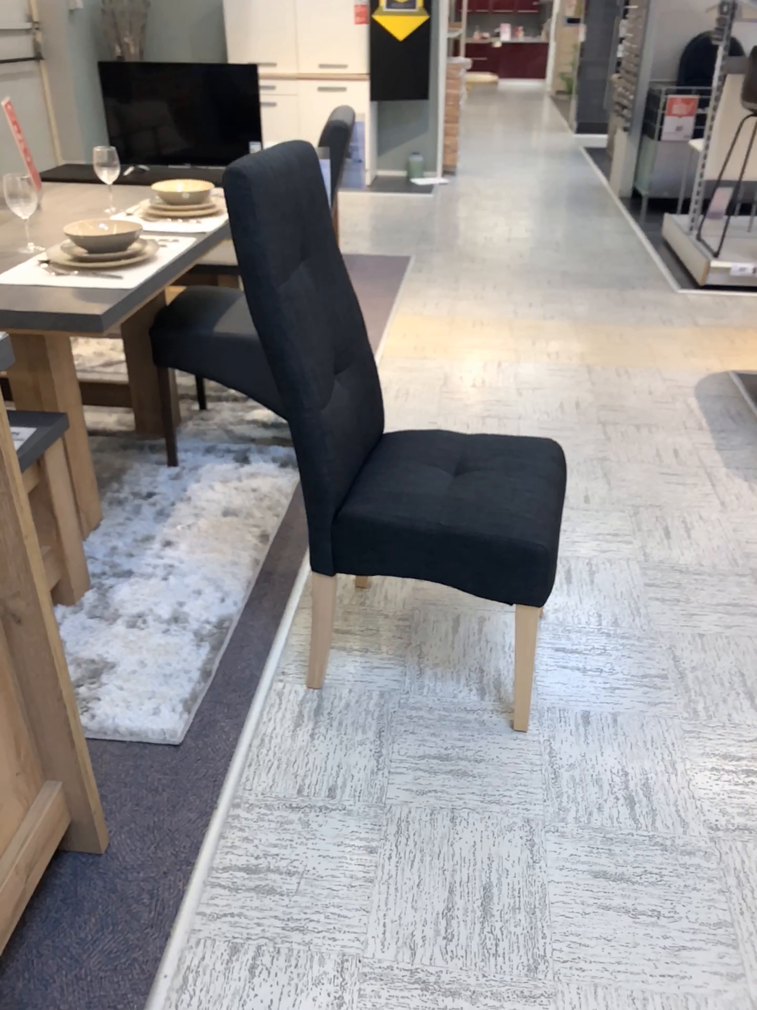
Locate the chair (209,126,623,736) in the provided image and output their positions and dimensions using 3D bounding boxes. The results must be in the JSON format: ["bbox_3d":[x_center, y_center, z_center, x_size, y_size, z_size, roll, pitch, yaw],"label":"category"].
[{"bbox_3d":[0.089,-0.149,1.647,0.600,1.043,0.483,6,30,10],"label":"chair"}]
